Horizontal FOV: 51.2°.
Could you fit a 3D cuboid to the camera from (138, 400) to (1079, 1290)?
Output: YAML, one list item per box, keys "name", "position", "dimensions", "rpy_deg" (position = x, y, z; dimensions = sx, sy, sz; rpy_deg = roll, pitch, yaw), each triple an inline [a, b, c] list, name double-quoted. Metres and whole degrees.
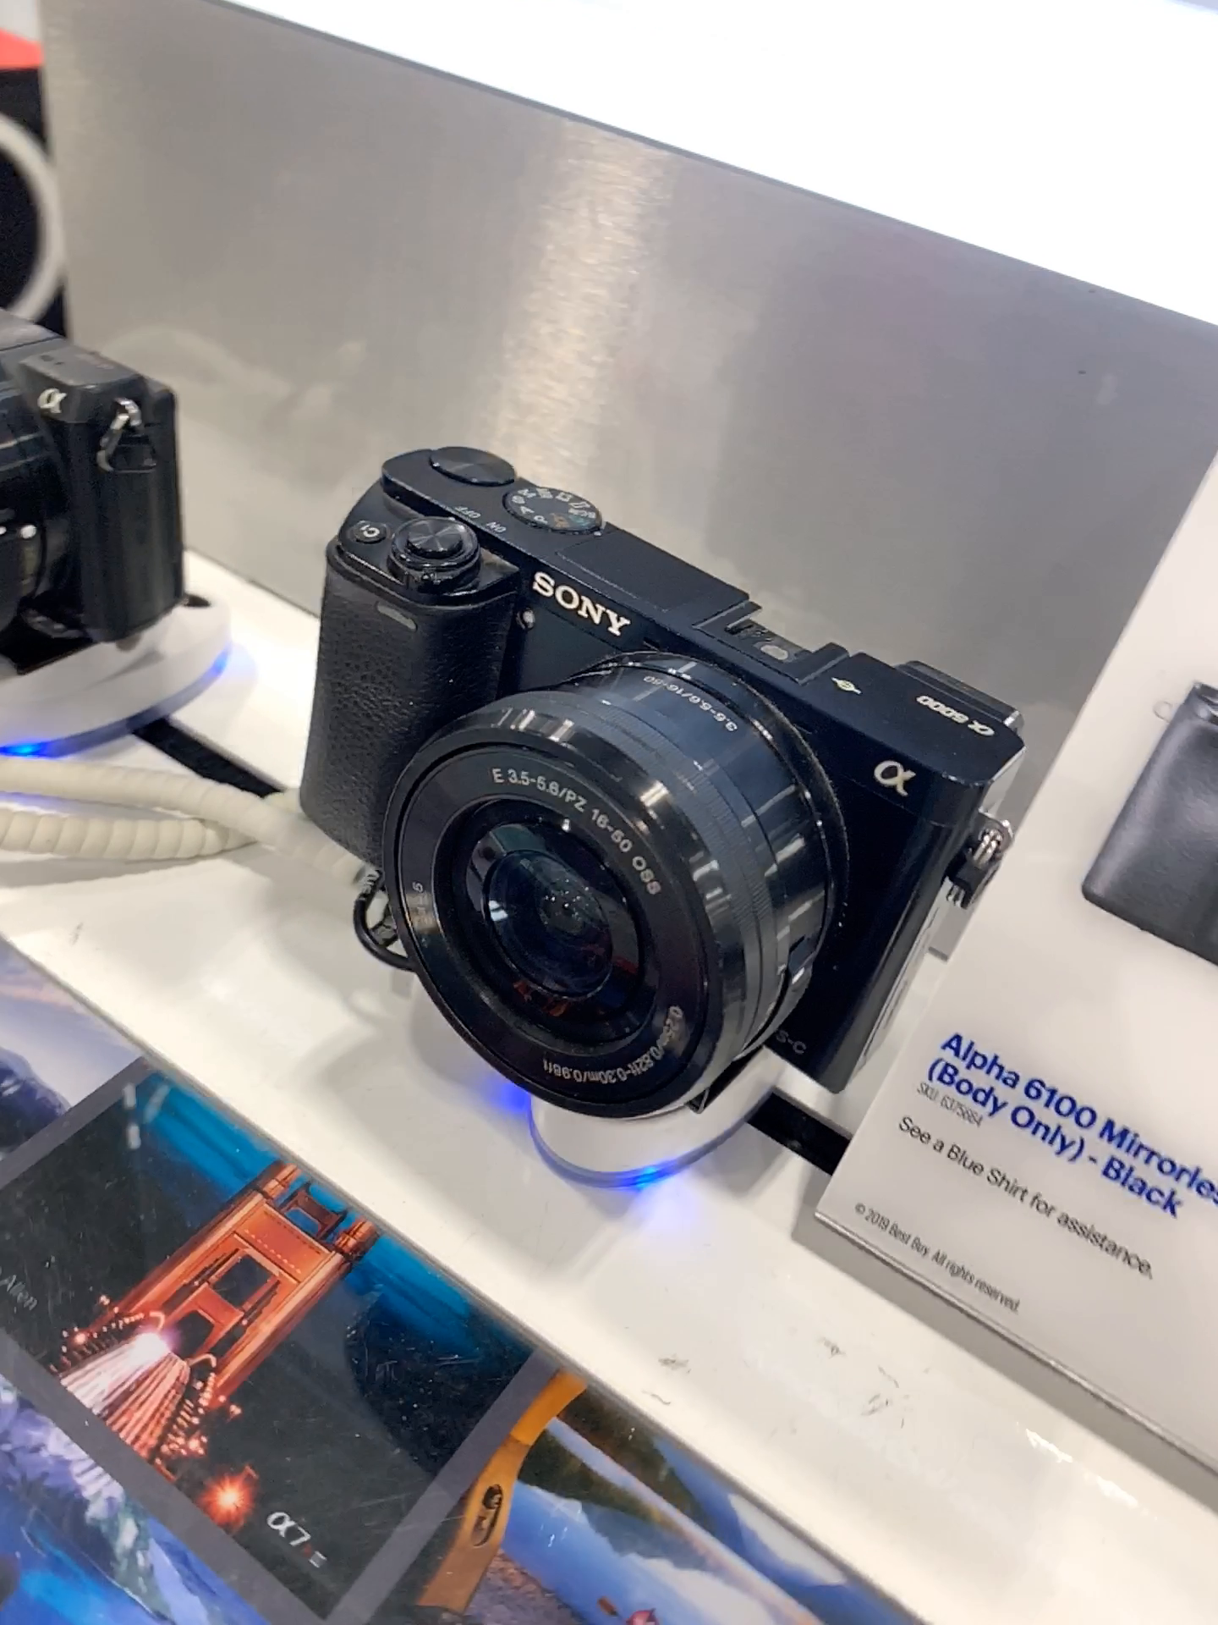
- name: "camera"
  position: [-0.006, -0.004, 0.202]
  dimensions: [0.120, 0.074, 0.065]
  rpy_deg: [31, 35, 22]
